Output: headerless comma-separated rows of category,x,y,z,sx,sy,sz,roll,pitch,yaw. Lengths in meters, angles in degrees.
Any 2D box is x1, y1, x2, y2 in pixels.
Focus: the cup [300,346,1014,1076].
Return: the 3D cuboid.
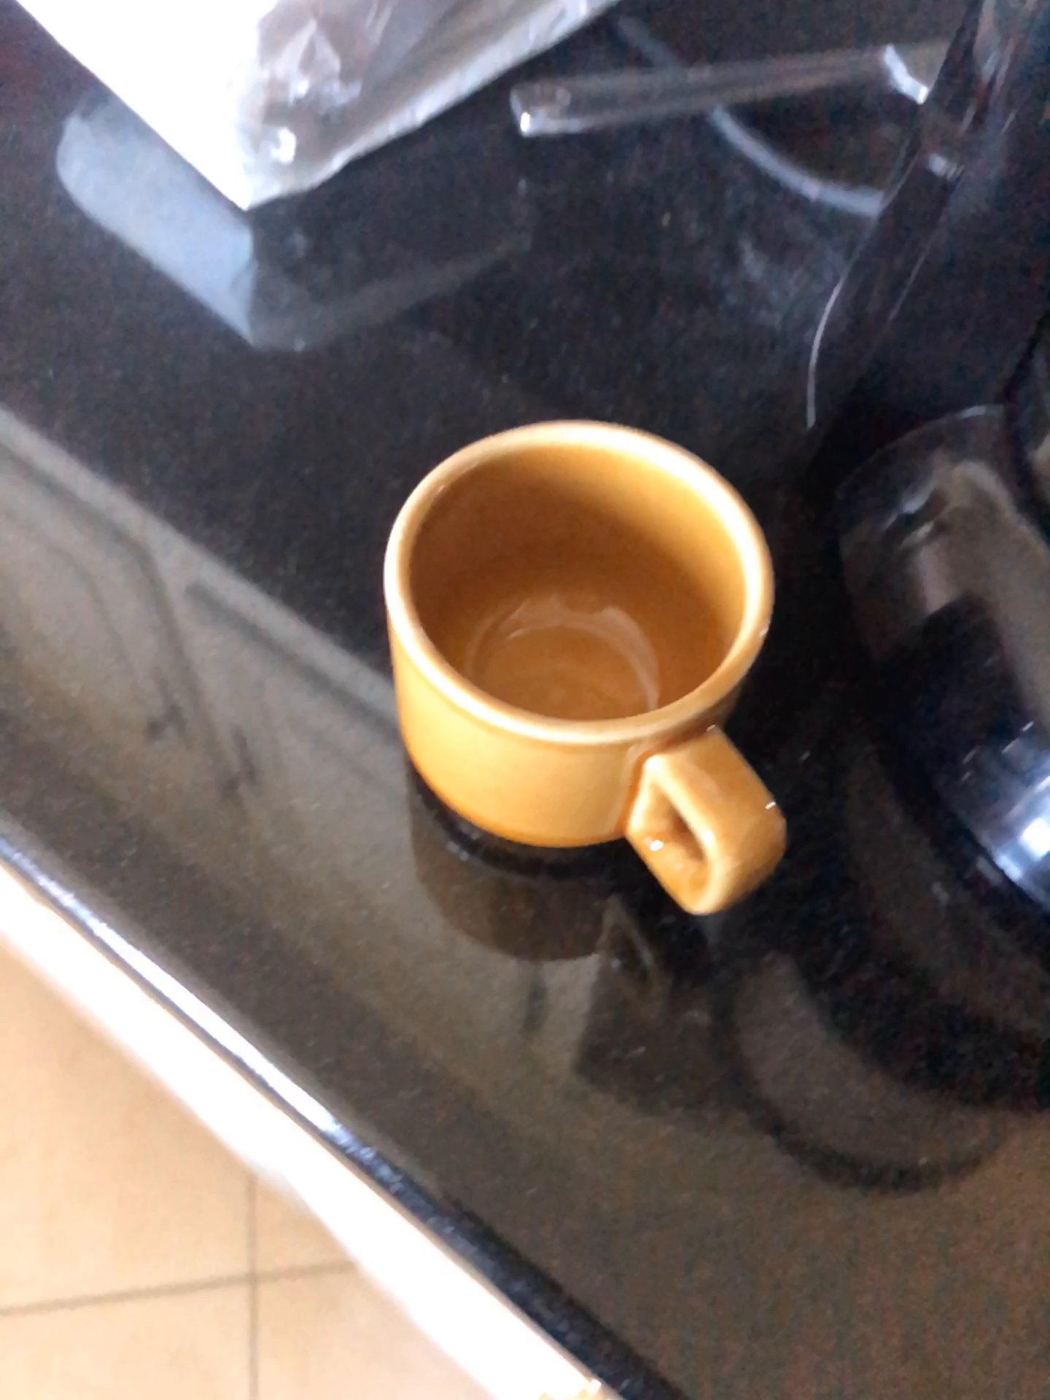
cup,0.017,-0.002,0.210,0.070,0.050,0.100,-27,63,-18
